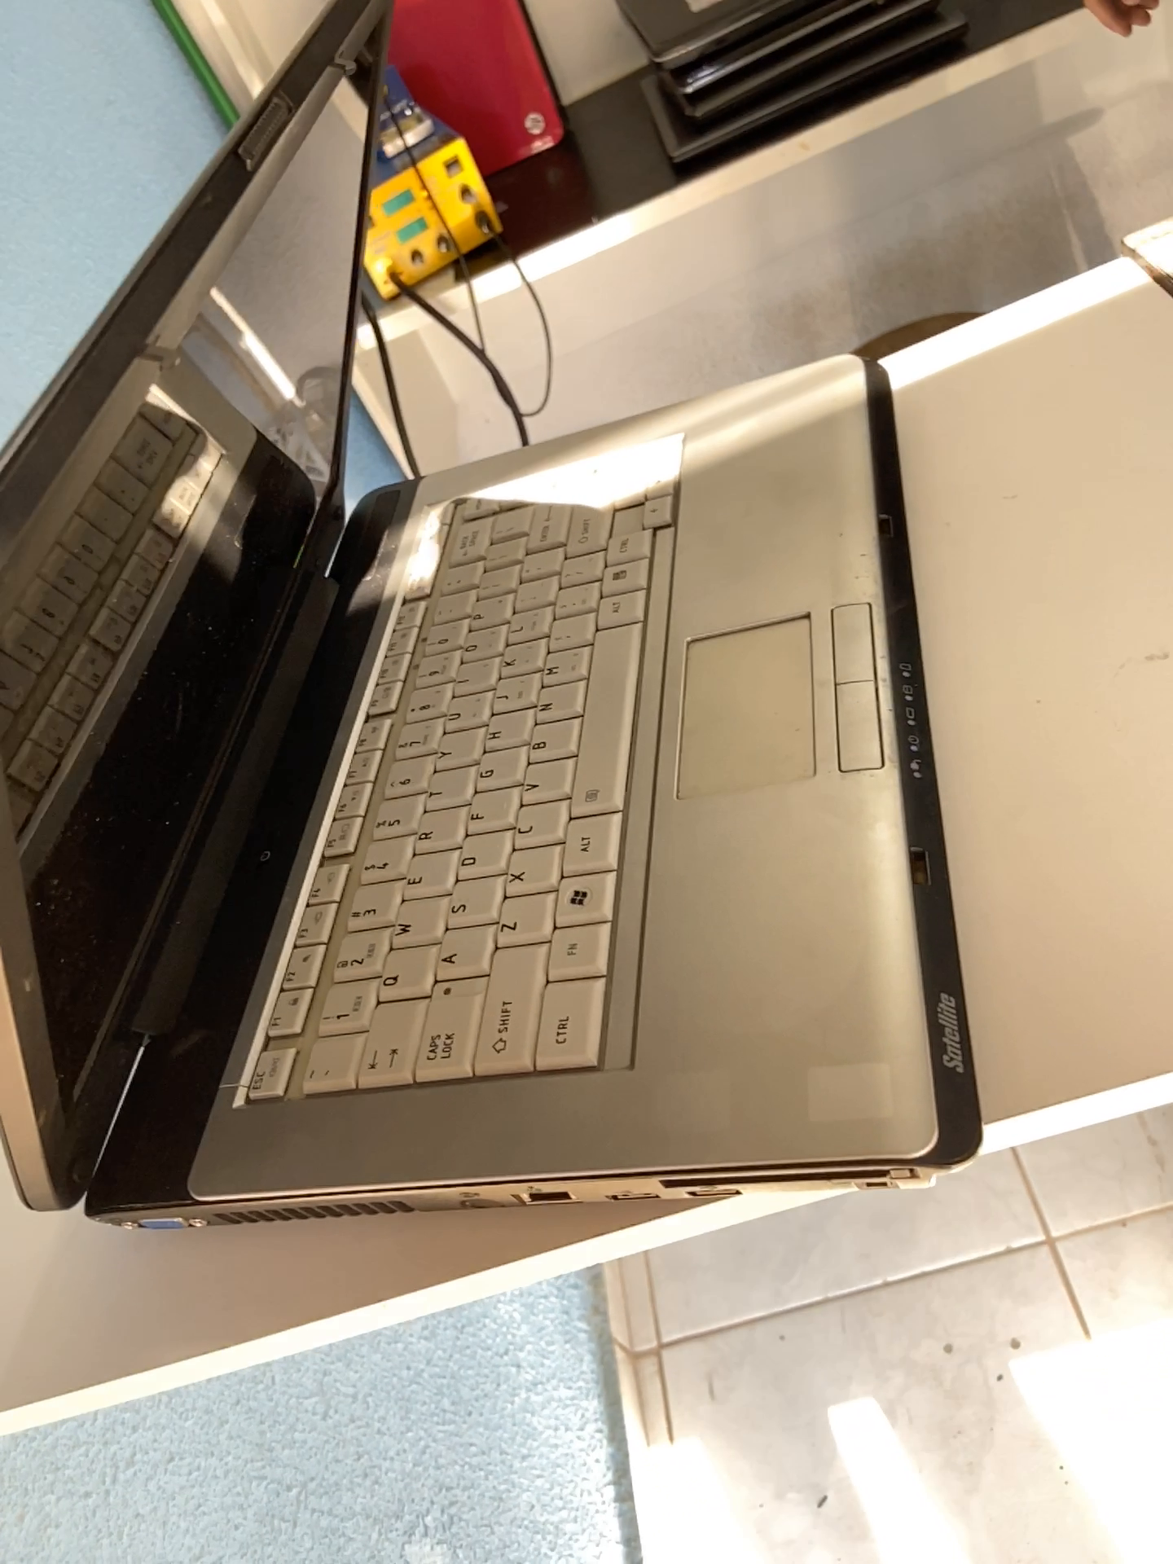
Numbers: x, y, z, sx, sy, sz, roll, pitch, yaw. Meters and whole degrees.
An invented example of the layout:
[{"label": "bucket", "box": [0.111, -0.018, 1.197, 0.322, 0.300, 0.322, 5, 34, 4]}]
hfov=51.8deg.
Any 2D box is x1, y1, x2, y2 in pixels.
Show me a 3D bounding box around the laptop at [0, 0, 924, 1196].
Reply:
[{"label": "laptop", "box": [-0.054, -0.093, 0.370, 0.246, 0.202, 0.353, -10, 46, 20]}]
